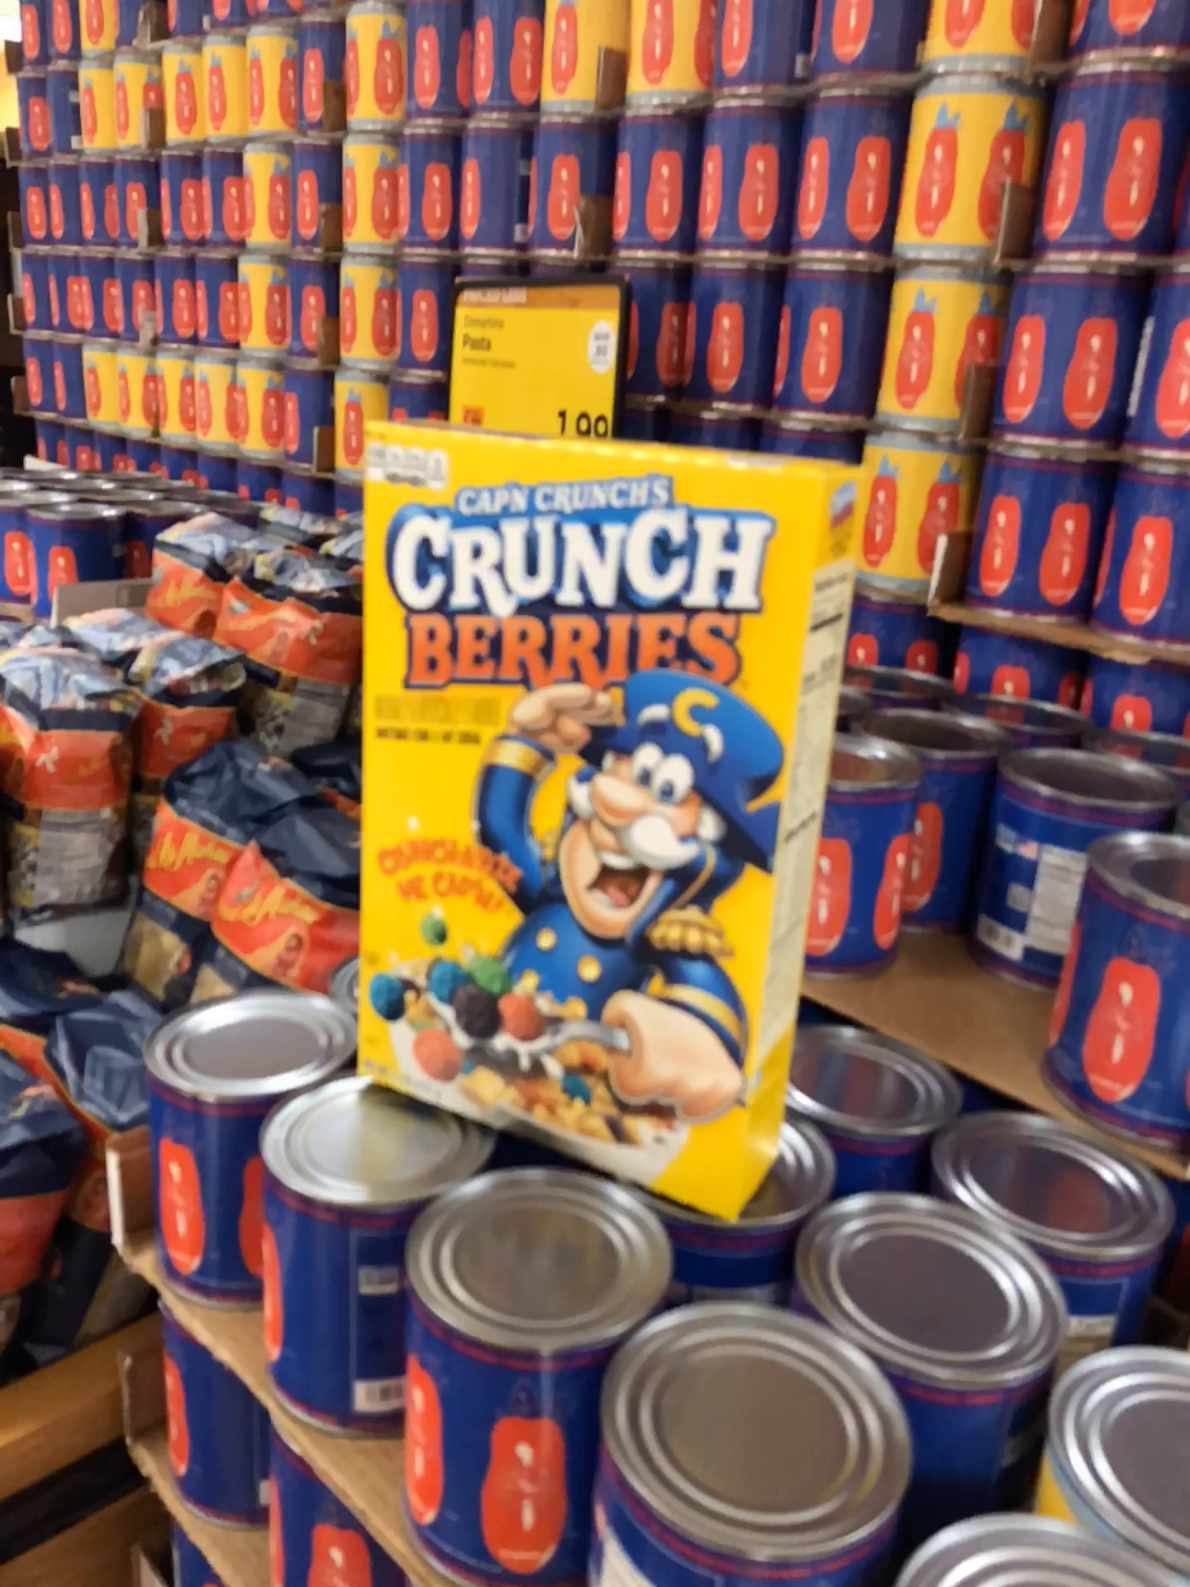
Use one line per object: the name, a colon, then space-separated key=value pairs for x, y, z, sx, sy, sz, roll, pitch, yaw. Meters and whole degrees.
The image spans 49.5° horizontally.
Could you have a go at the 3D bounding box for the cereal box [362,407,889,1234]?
cereal box: x=0.000 y=0.004 z=0.529 sx=0.190 sy=0.298 sz=0.060 roll=13 pitch=21 yaw=27
